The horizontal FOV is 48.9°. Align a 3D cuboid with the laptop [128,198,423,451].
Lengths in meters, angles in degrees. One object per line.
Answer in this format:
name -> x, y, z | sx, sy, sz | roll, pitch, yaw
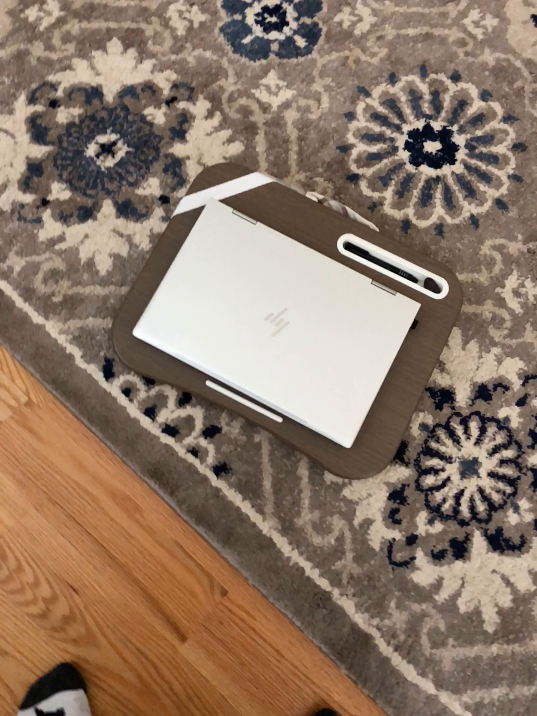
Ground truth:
laptop -> 0.012, -0.055, 0.870 | 0.354, 0.026, 0.241 | 27, 78, 4
